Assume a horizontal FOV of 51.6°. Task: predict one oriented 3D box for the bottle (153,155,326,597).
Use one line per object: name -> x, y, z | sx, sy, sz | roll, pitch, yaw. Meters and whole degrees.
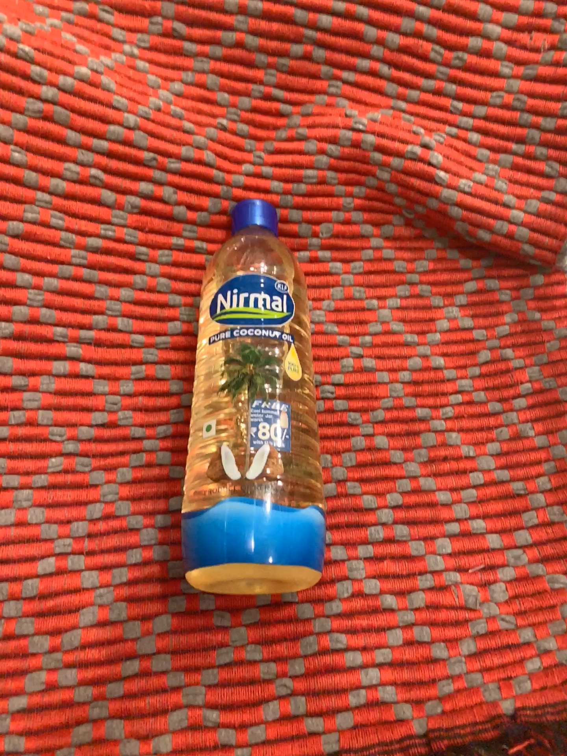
bottle -> -0.016, -0.008, 0.270 | 0.060, 0.050, 0.200 | 1, 64, -2
